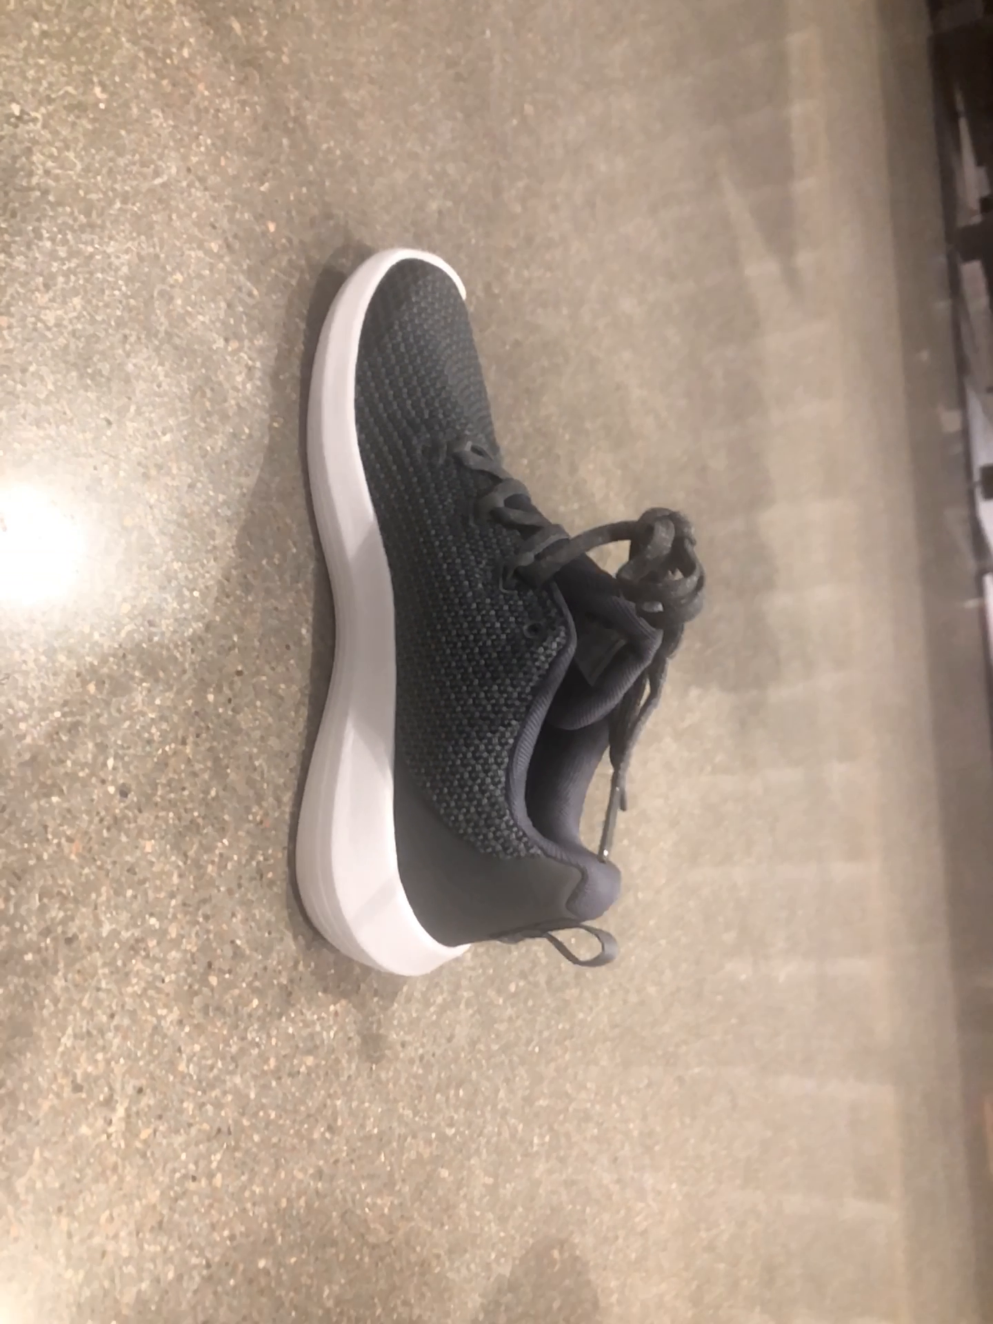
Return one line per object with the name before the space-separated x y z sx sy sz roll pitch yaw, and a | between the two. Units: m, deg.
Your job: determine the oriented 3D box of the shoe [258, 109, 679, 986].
shoe | 0.002 -0.028 0.381 0.117 0.084 0.265 27 61 -57
